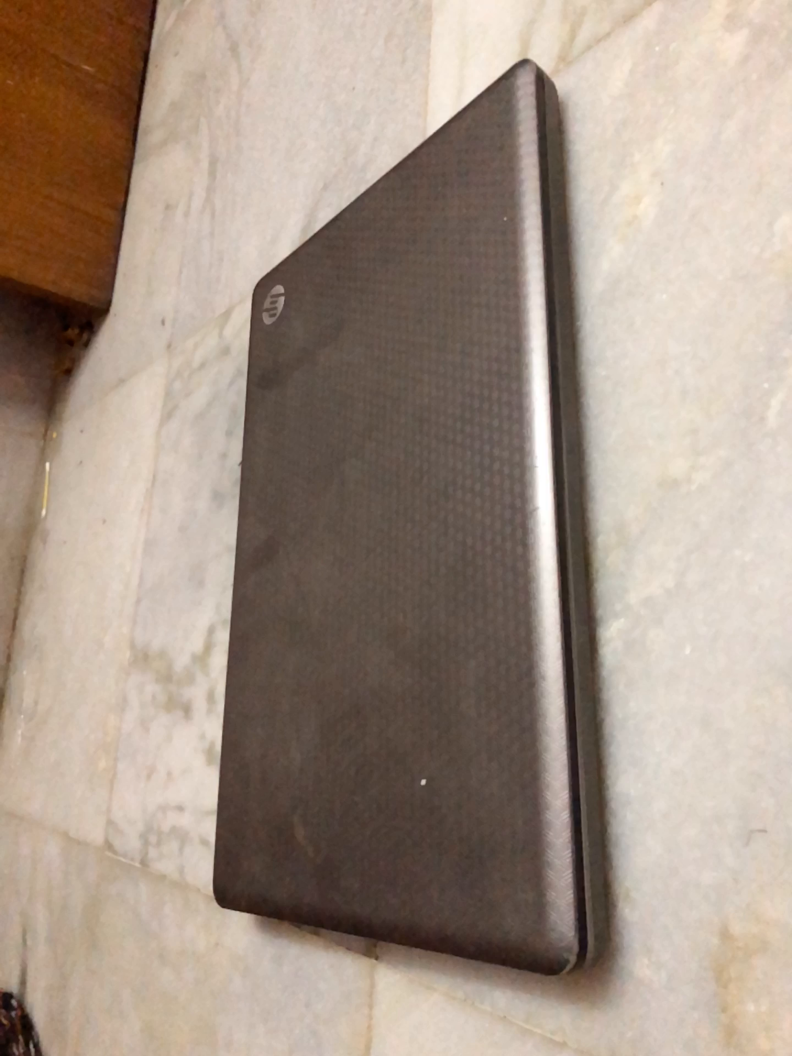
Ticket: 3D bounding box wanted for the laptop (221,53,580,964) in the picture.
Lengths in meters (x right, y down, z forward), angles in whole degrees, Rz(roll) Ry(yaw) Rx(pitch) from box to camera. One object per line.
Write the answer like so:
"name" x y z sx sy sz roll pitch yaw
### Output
"laptop" -0.016 -0.011 0.452 0.253 0.003 0.394 -20 64 48
